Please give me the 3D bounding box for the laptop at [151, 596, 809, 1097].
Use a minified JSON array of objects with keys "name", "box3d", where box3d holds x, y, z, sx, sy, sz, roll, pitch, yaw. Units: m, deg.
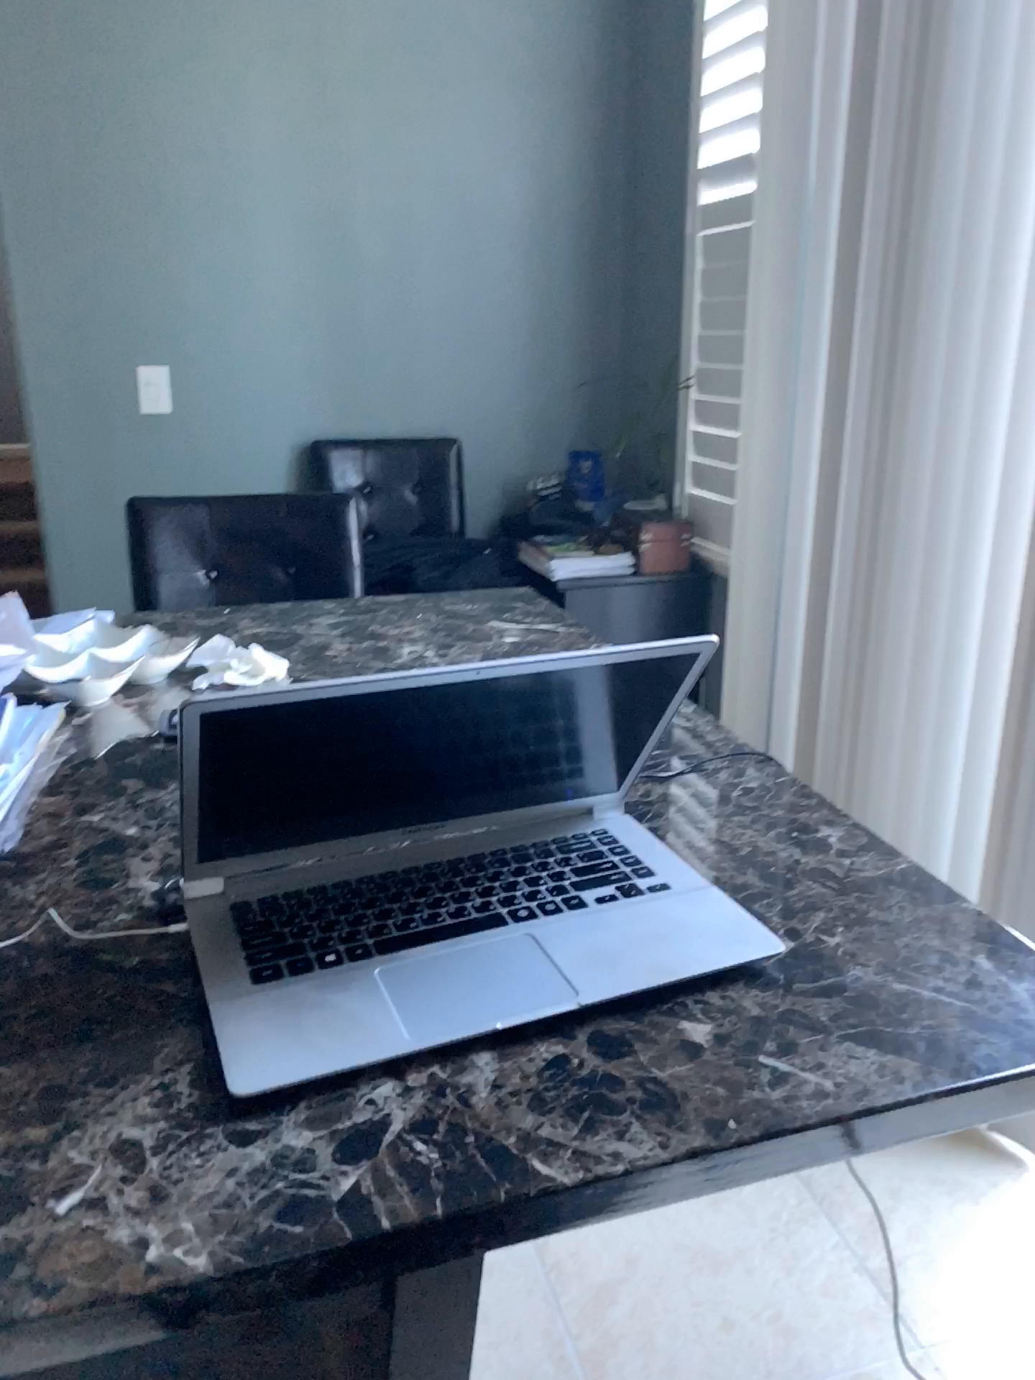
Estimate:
[{"name":"laptop","box3d":[-0.035,0.071,0.707,0.361,0.188,0.235,-8,20,-22]}]
